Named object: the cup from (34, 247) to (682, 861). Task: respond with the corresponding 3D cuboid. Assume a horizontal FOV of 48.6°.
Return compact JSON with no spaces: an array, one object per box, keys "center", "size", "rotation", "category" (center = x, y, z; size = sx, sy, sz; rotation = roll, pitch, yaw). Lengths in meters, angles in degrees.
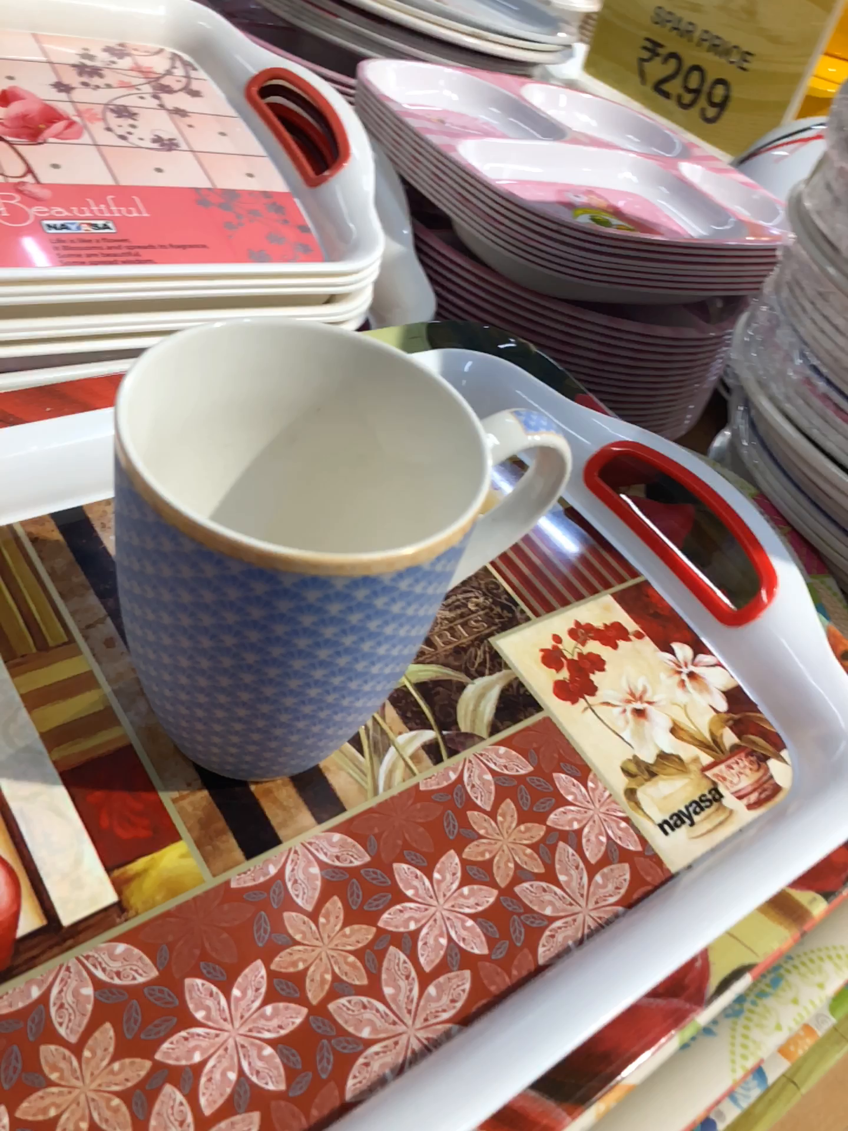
[{"center":[-0.021,-0.010,0.238],"size":[0.121,0.099,0.080],"rotation":[-20,53,-36],"category":"cup"}]
